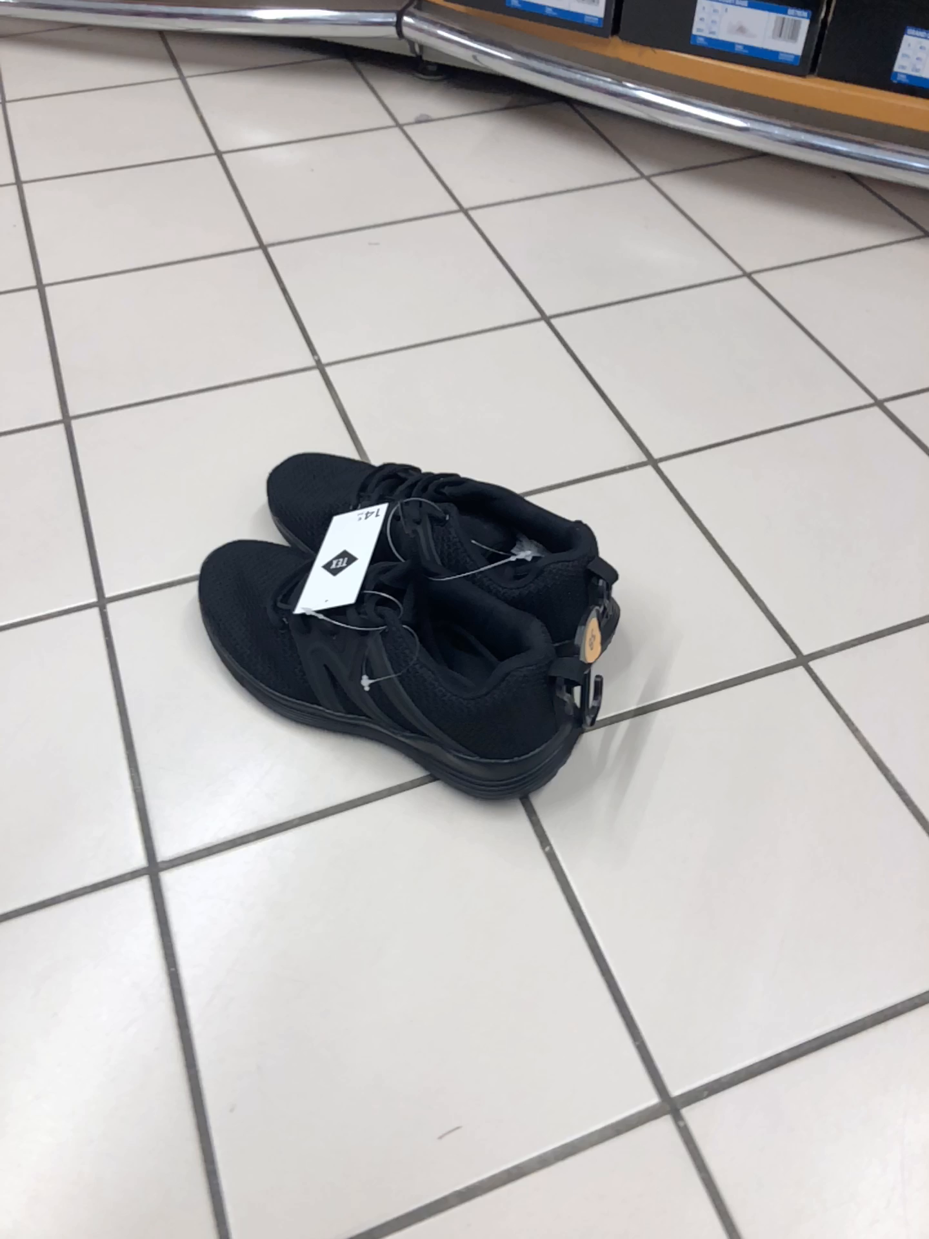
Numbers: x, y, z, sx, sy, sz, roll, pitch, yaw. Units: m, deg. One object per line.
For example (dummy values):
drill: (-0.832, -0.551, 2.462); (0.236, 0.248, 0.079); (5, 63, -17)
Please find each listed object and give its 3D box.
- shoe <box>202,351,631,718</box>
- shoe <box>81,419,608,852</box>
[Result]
shoe: (-0.033, -0.061, 0.661); (0.250, 0.109, 0.101); (28, 54, 22)
shoe: (-0.068, 0.003, 0.587); (0.270, 0.119, 0.101); (24, 53, 19)
